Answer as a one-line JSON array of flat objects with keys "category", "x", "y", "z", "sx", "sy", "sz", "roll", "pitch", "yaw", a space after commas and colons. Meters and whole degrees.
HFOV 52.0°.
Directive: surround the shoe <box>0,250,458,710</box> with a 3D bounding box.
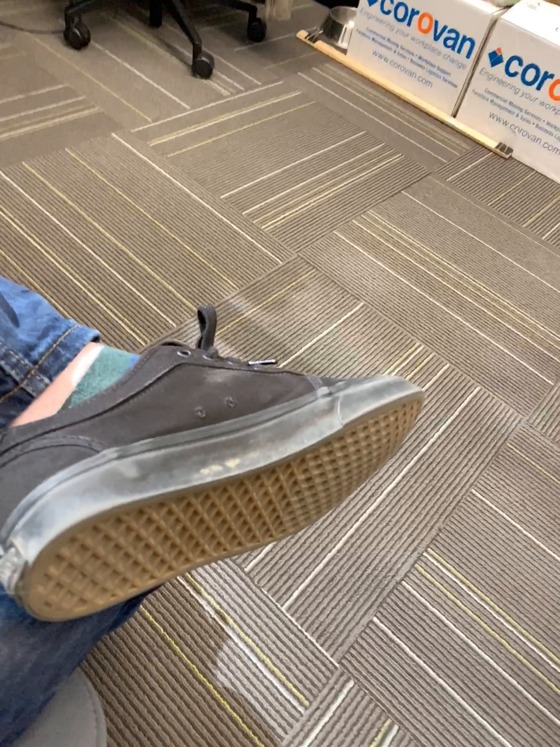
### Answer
[{"category": "shoe", "x": -0.045, "y": 0.042, "z": 0.352, "sx": 0.260, "sy": 0.119, "sz": 0.135, "roll": -24, "pitch": 52, "yaw": -29}]
